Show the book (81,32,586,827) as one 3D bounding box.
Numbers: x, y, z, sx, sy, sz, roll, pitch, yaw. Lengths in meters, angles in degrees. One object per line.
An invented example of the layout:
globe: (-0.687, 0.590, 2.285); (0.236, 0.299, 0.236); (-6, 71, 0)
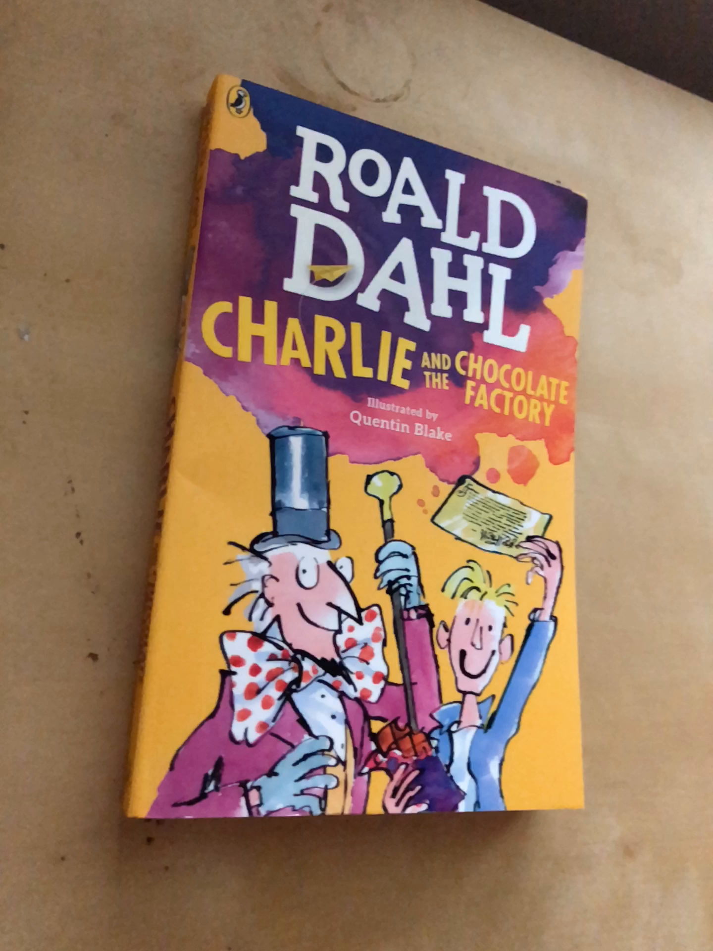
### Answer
book: (0.002, -0.009, 0.238); (0.134, 0.040, 0.201); (9, 77, -24)
